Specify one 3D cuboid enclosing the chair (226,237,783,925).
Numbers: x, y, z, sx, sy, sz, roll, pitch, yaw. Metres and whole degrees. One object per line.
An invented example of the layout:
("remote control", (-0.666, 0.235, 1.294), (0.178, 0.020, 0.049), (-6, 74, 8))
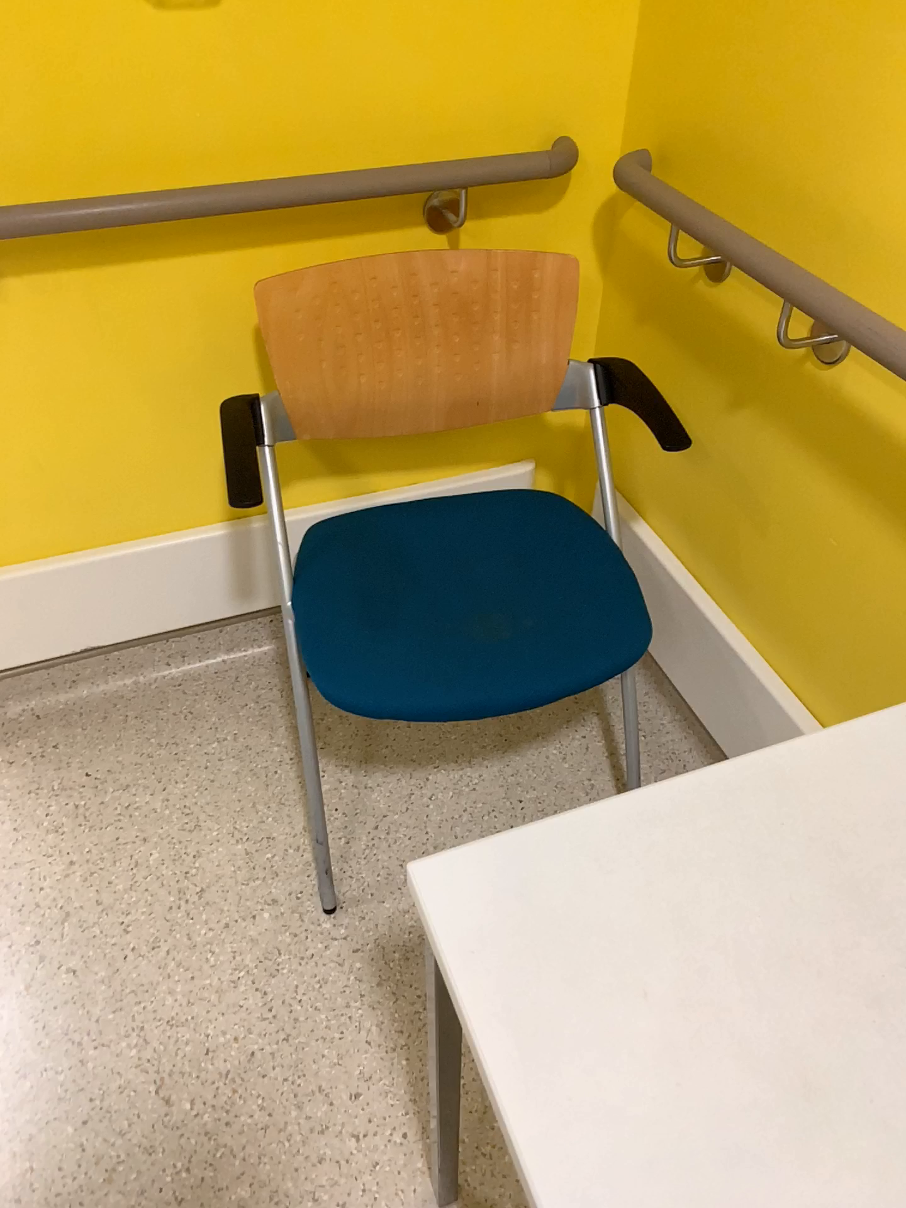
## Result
("chair", (0.007, -0.038, 1.395), (0.570, 0.779, 0.595), (-7, 41, -8))
